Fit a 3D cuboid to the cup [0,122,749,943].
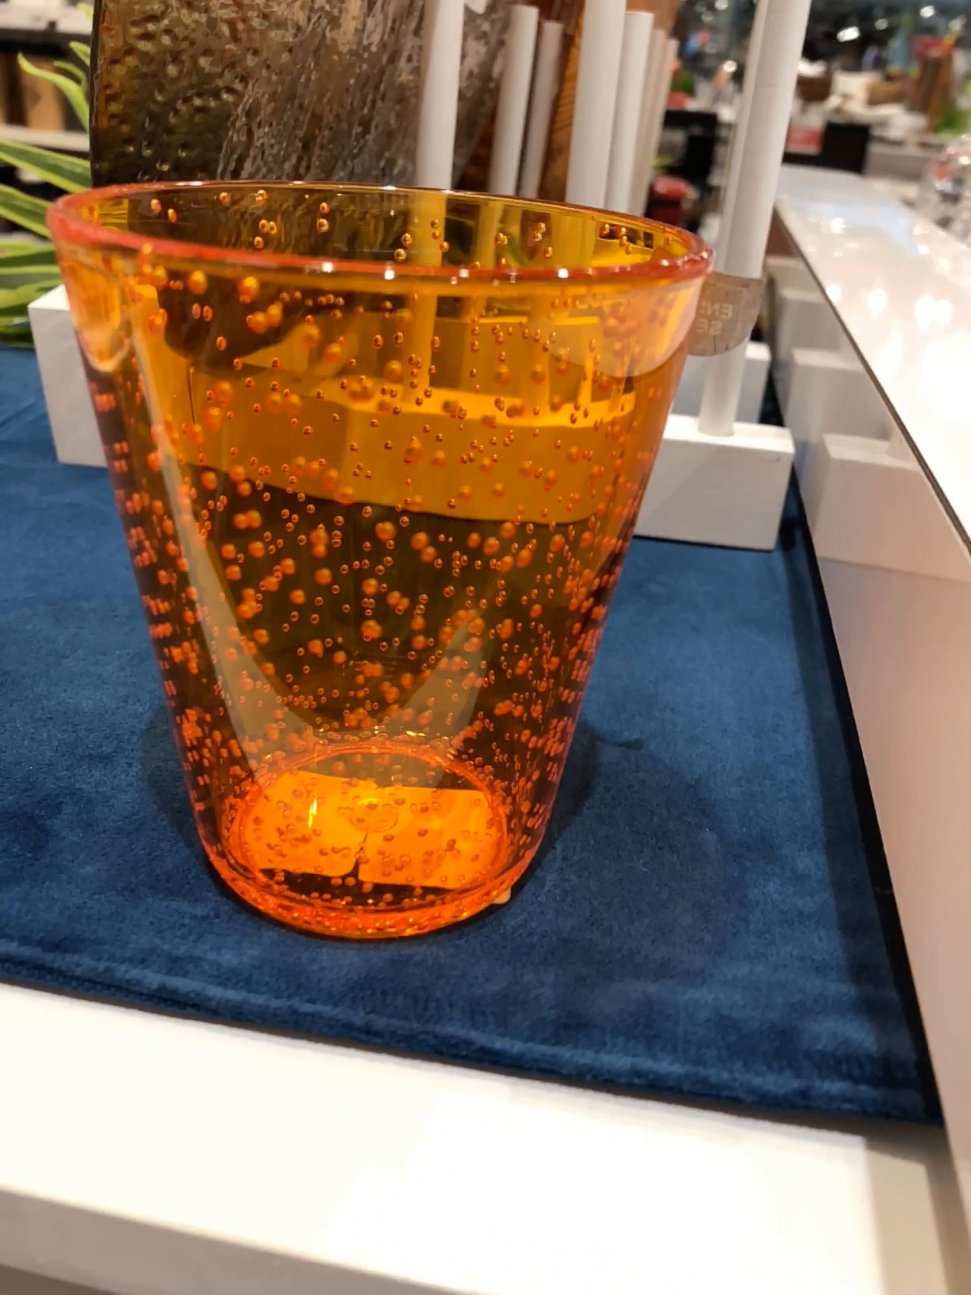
[{"bbox_3d":[-0.021,-0.018,0.151,0.080,0.090,0.070,2,28,-7],"label":"cup"}]
